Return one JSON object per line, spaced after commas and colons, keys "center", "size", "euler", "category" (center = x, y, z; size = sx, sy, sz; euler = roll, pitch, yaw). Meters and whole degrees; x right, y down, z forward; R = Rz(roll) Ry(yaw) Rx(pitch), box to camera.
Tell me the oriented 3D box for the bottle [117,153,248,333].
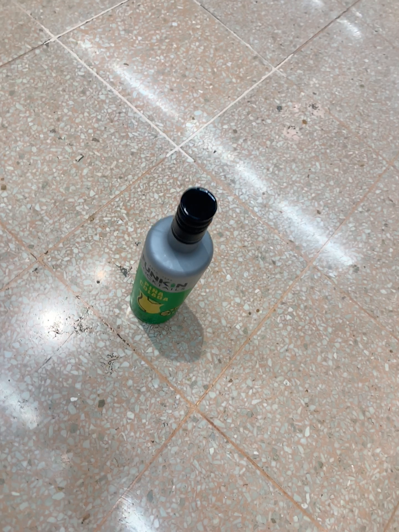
{"center": [-0.038, -0.001, 0.467], "size": [0.073, 0.285, 0.067], "euler": [5, 68, -12], "category": "bottle"}
